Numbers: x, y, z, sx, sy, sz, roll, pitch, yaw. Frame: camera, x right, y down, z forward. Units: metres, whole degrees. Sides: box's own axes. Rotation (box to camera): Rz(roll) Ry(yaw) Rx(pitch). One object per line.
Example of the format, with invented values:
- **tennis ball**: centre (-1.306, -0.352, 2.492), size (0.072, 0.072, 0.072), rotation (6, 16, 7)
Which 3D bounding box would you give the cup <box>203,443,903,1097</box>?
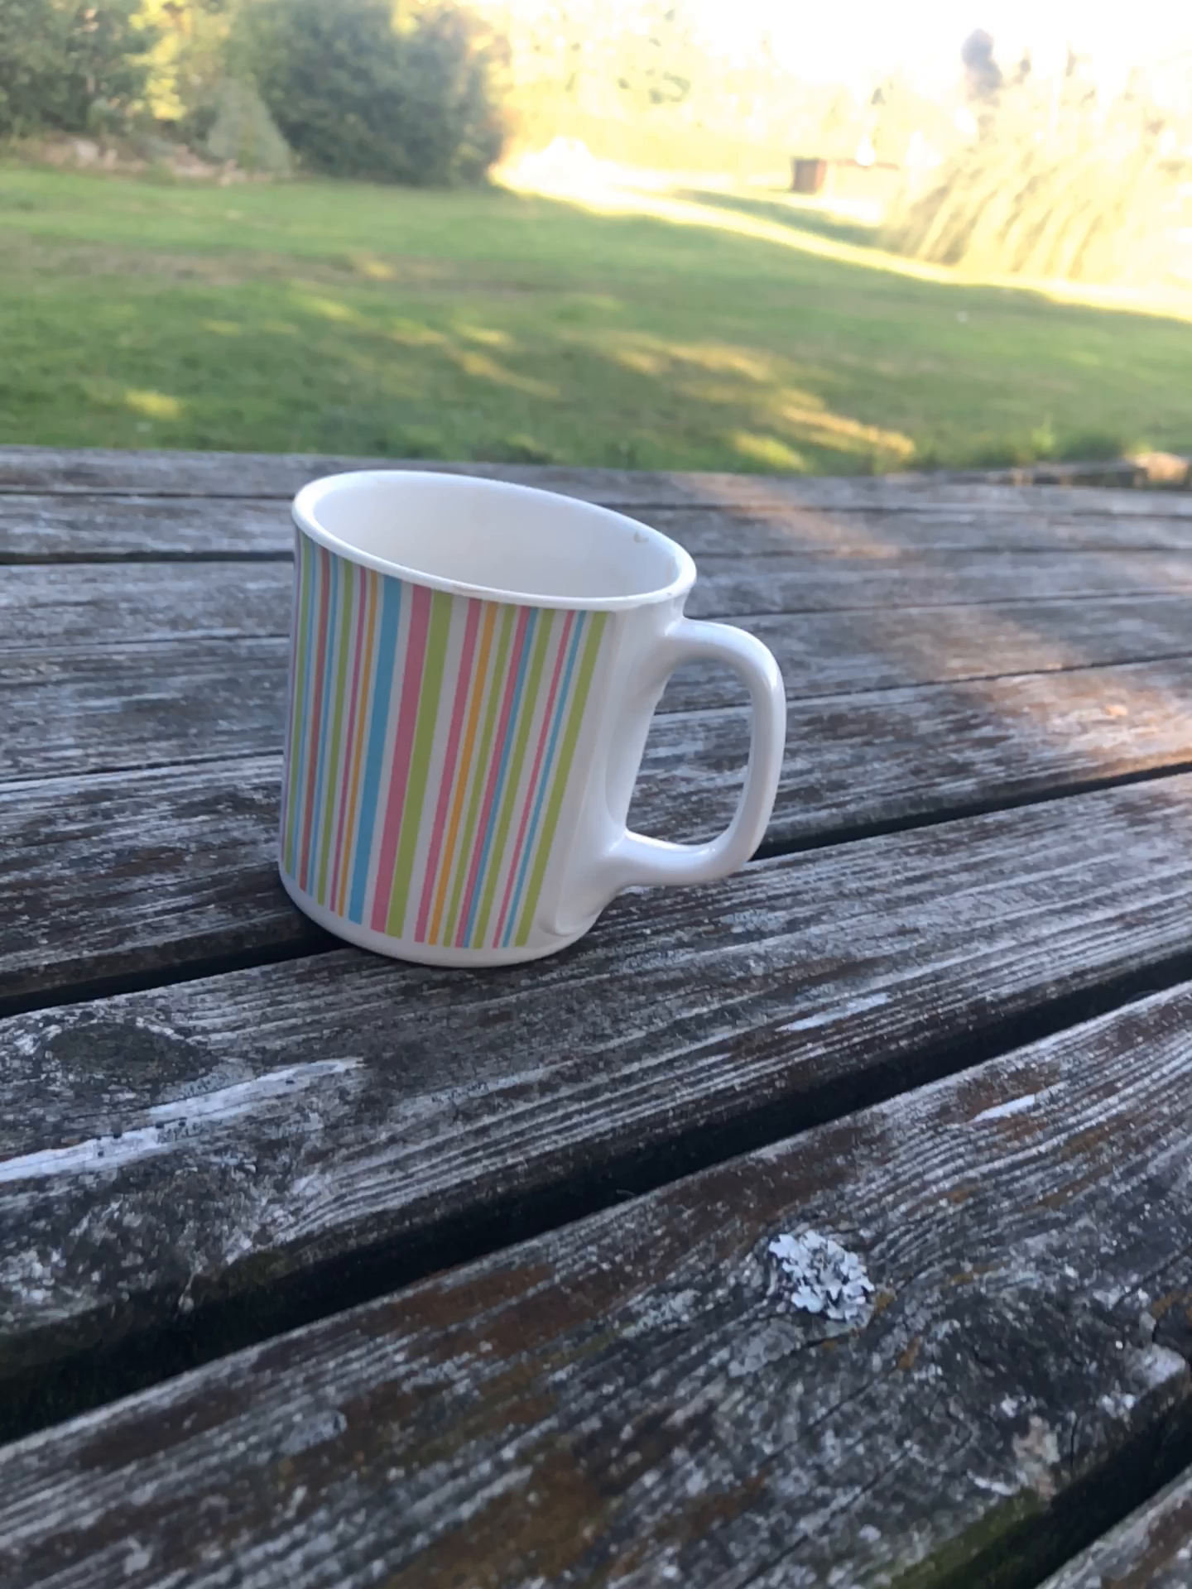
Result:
- **cup**: centre (-0.009, -0.015, 0.327), size (0.133, 0.096, 0.099), rotation (18, 29, 13)
